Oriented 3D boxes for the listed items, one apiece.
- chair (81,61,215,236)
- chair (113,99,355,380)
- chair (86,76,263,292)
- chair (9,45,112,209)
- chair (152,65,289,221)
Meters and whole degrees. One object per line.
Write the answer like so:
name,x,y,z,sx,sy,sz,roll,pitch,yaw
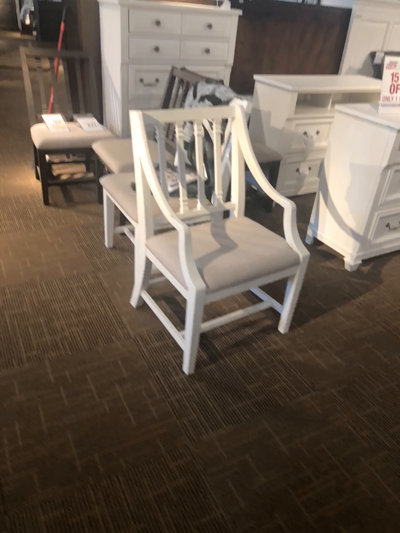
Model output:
chair,-0.360,-0.788,2.827,0.581,0.885,0.682,-12,35,-26
chair,0.071,-0.163,1.834,0.651,0.885,0.632,-13,36,-28
chair,-0.167,-0.450,2.243,0.641,0.885,0.562,-12,35,-26
chair,-0.973,-0.992,3.089,0.541,0.955,0.602,-9,34,-22
chair,0.087,-0.962,3.284,0.601,0.885,0.873,-11,35,-25
